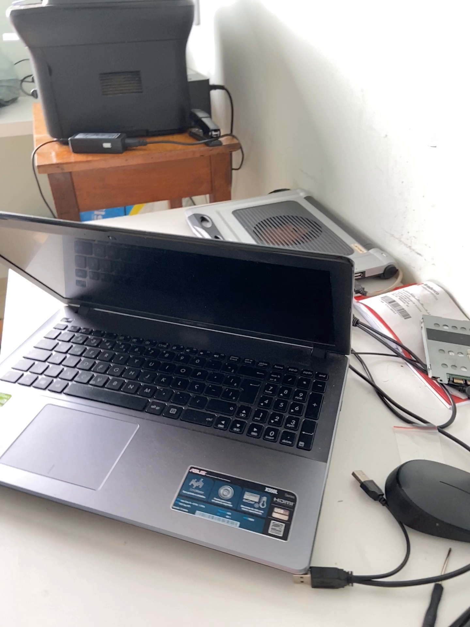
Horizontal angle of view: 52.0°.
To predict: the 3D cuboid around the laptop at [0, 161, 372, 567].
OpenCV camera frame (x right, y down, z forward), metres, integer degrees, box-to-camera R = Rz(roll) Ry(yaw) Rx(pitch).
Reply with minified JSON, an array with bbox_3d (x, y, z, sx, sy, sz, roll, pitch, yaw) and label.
[{"bbox_3d":[-0.087,0.007,0.437,0.364,0.190,0.246,9,36,16],"label":"laptop"}]
